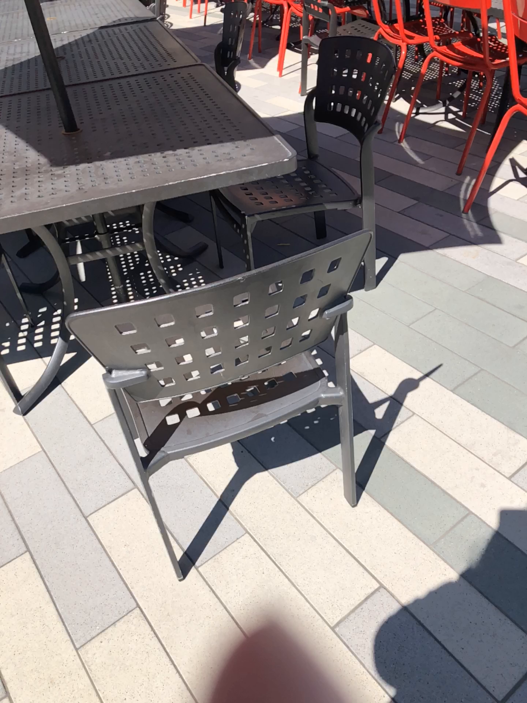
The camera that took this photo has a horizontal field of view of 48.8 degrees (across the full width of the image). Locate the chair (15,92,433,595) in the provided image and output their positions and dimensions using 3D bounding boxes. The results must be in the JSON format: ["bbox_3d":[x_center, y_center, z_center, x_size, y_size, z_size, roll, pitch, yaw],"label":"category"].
[{"bbox_3d":[-0.085,-0.015,1.203,0.520,0.756,0.533,-20,45,-16],"label":"chair"}]
